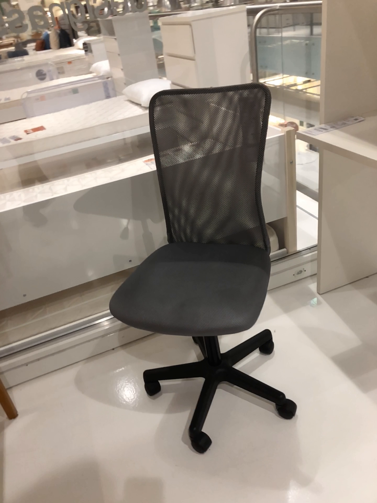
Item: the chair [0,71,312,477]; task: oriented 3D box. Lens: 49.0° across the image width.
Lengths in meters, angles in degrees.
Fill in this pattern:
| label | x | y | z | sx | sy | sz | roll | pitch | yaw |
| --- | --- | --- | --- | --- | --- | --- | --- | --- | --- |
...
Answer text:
| label | x | y | z | sx | sy | sz | roll | pitch | yaw |
| --- | --- | --- | --- | --- | --- | --- | --- | --- | --- |
| chair | 0.042 | 0.047 | 1.236 | 0.580 | 0.933 | 0.604 | 3 | 33 | 20 |
